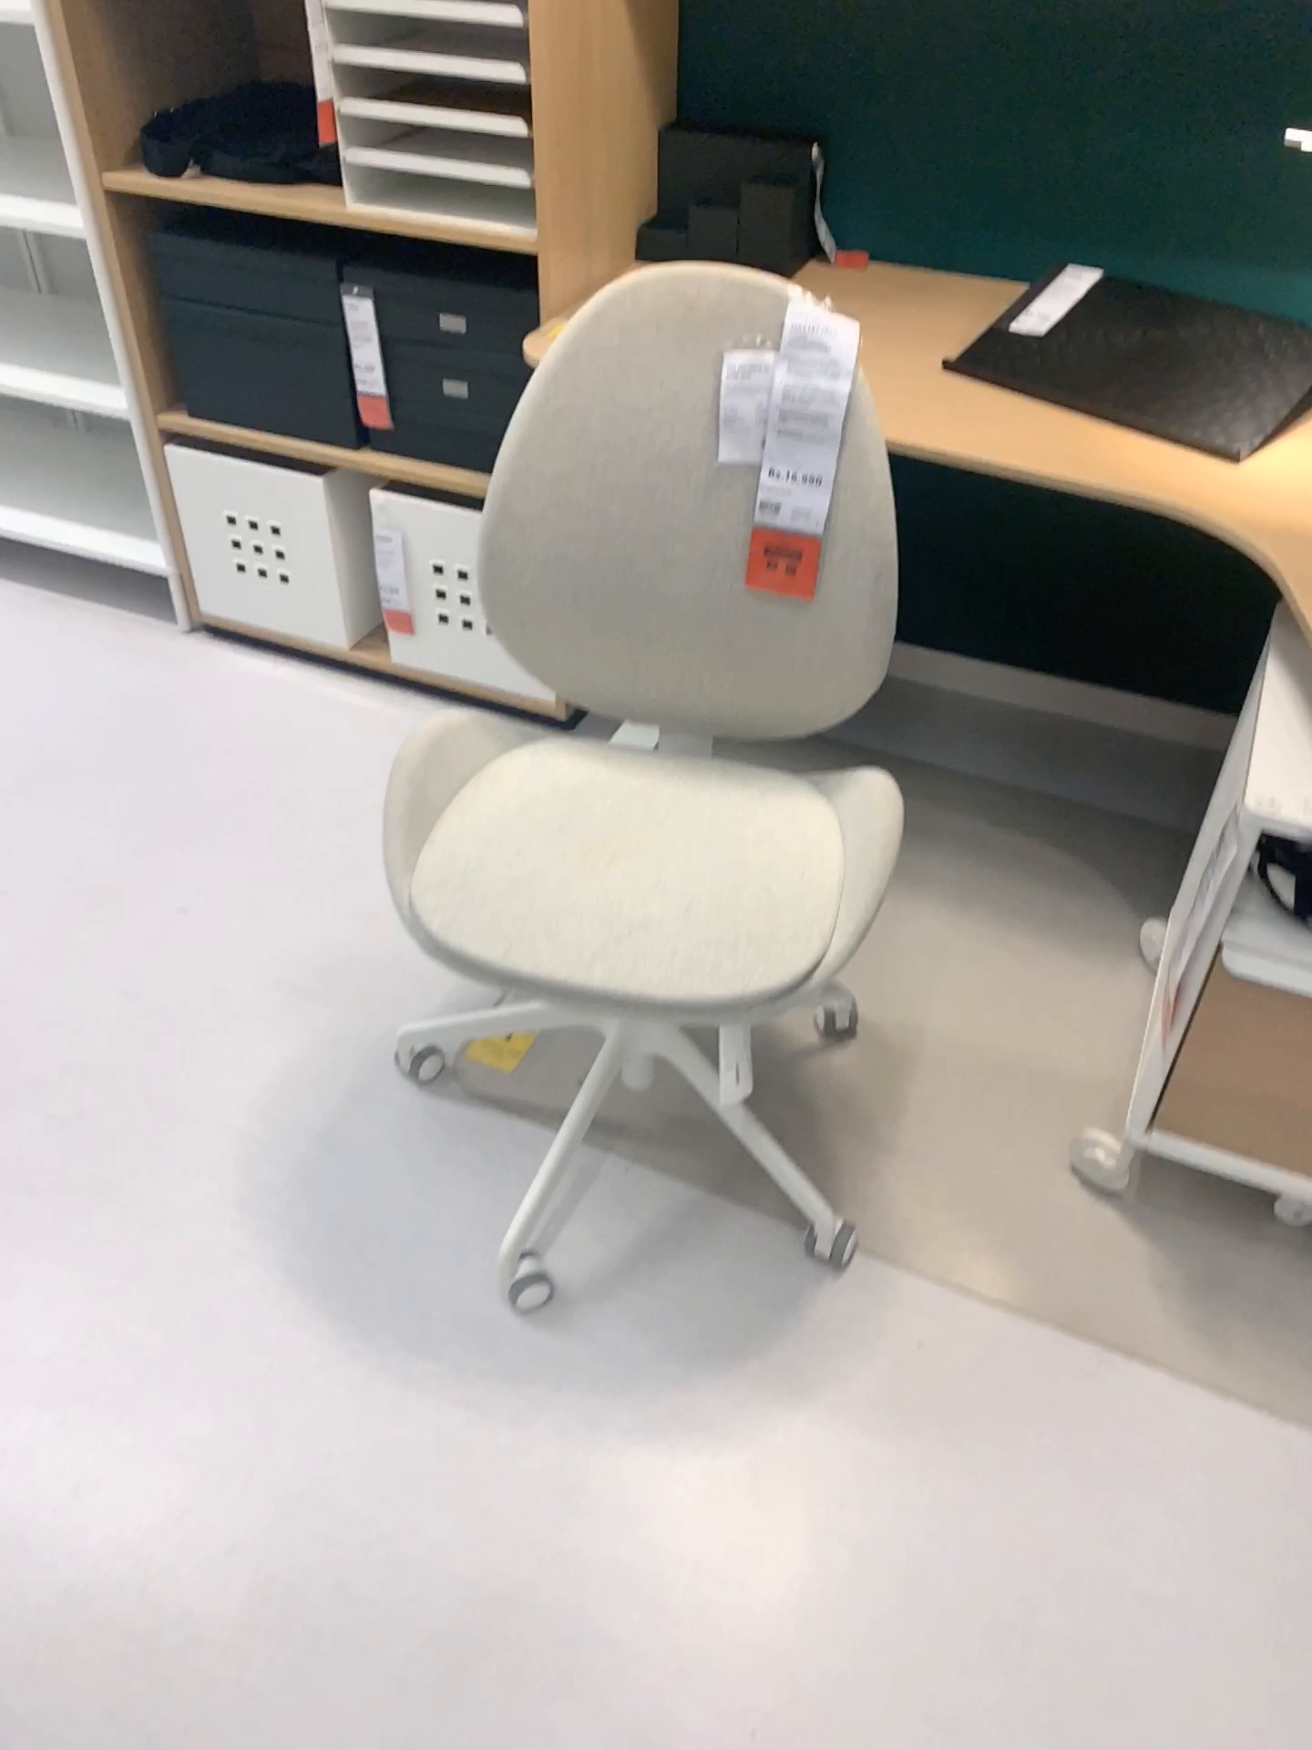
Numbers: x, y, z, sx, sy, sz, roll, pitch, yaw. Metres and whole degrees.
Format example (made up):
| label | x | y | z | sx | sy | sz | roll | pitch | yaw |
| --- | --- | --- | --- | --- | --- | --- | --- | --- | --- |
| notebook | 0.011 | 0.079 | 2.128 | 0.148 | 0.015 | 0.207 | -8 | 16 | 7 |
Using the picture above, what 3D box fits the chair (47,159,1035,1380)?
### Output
| label | x | y | z | sx | sy | sz | roll | pitch | yaw |
| --- | --- | --- | --- | --- | --- | --- | --- | --- | --- |
| chair | -0.031 | -0.100 | 1.393 | 0.630 | 0.996 | 0.642 | 9 | 40 | 10 |
